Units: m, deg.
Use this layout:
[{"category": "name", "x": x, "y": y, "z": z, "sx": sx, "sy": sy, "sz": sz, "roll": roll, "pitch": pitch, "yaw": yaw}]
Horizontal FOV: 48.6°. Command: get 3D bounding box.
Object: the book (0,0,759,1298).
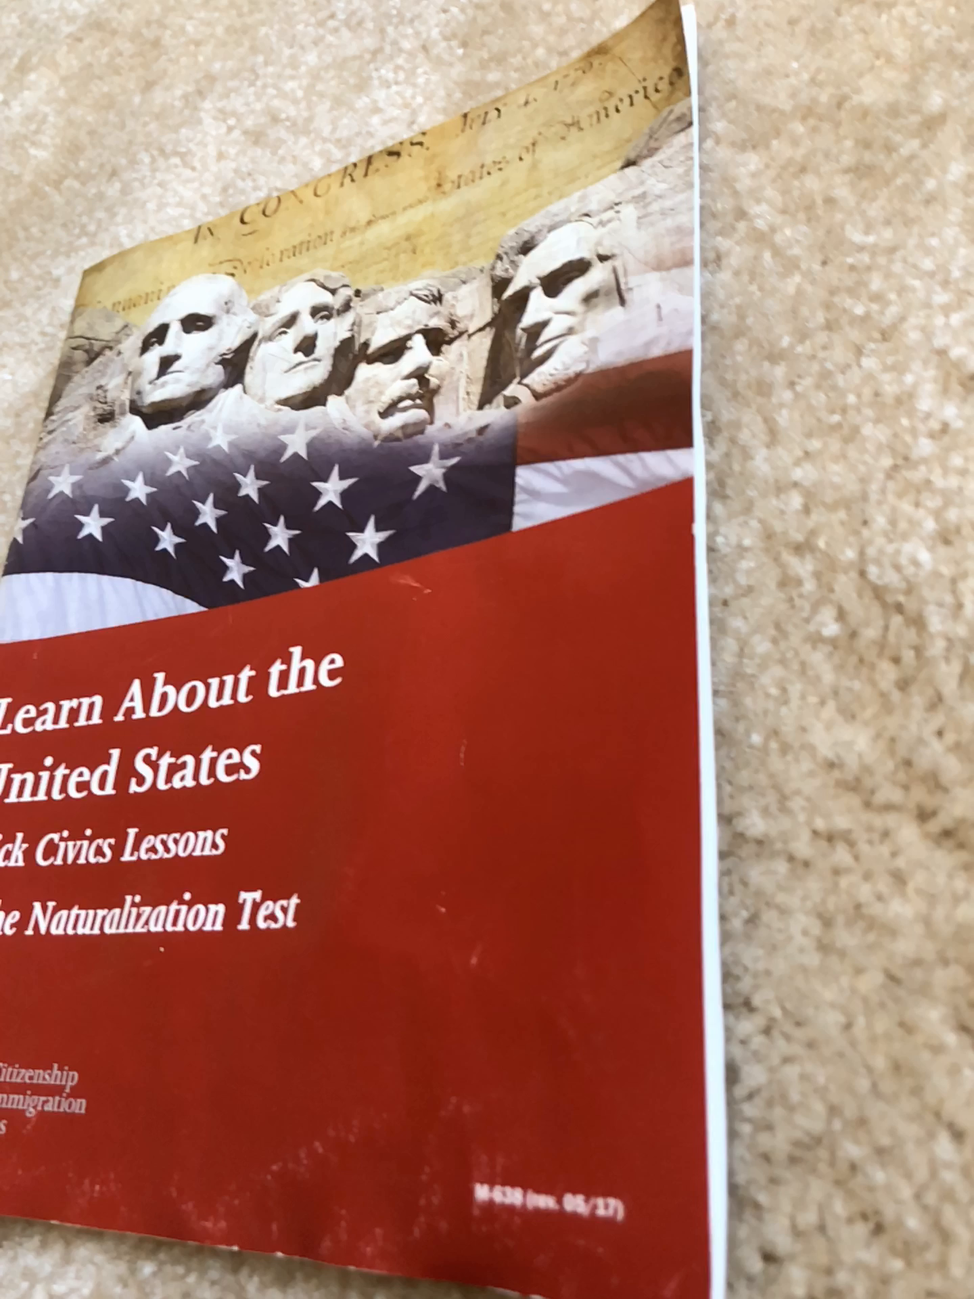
[{"category": "book", "x": -0.047, "y": -0.012, "z": 0.256, "sx": 0.208, "sy": 0.028, "sz": 0.274, "roll": -11, "pitch": 62, "yaw": 29}]
